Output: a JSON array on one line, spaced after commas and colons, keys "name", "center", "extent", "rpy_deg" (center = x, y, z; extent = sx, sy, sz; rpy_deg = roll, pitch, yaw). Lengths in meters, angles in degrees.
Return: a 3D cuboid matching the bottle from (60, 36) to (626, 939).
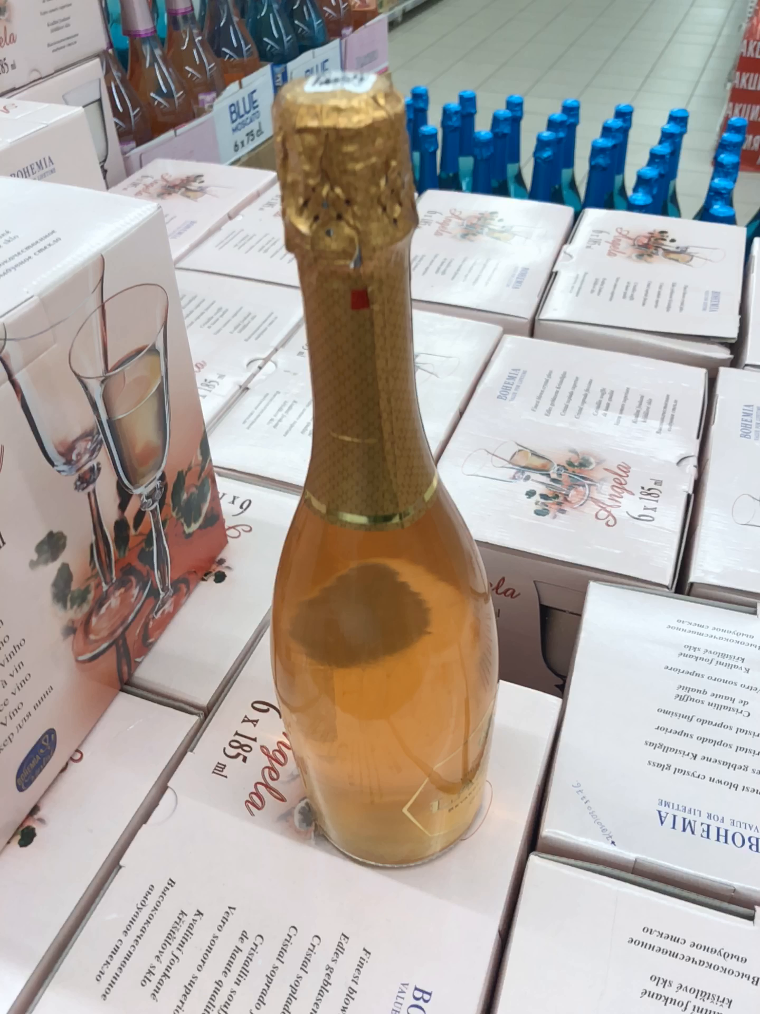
[{"name": "bottle", "center": [-0.002, 0.019, 0.293], "extent": [0.090, 0.298, 0.100], "rpy_deg": [23, 47, 25]}]
